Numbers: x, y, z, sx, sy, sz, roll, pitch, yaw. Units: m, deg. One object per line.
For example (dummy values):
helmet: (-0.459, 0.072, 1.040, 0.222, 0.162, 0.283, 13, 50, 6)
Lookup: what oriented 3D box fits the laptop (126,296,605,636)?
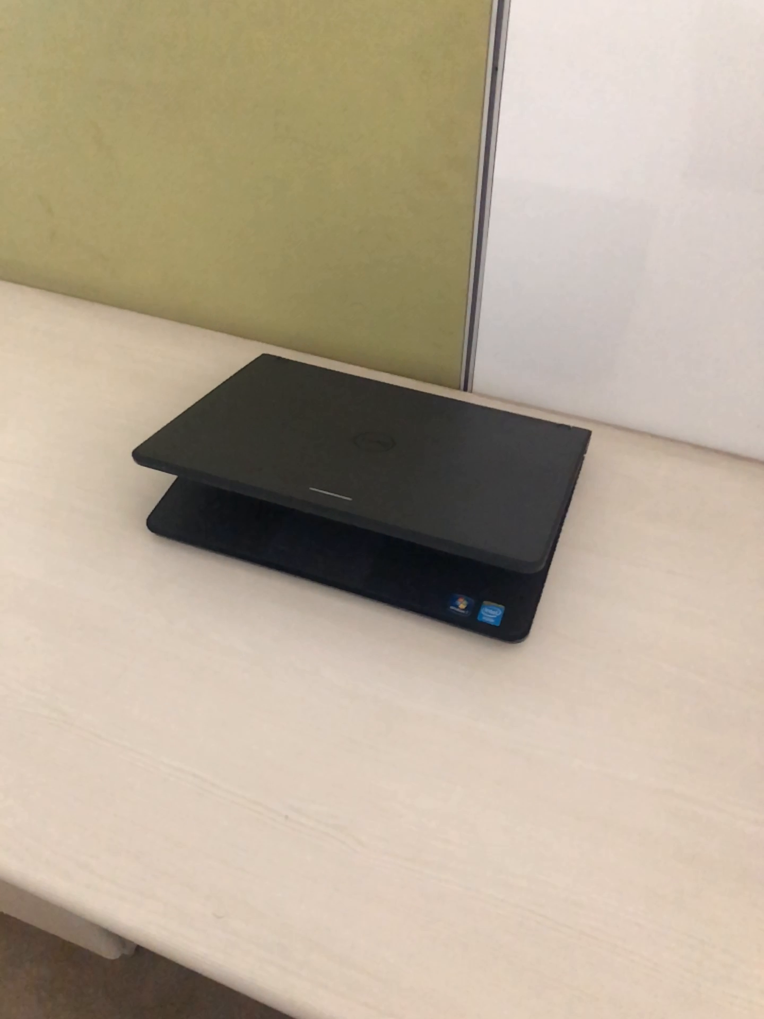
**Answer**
laptop: (-0.004, -0.054, 0.699, 0.322, 0.072, 0.230, 16, 49, 15)
